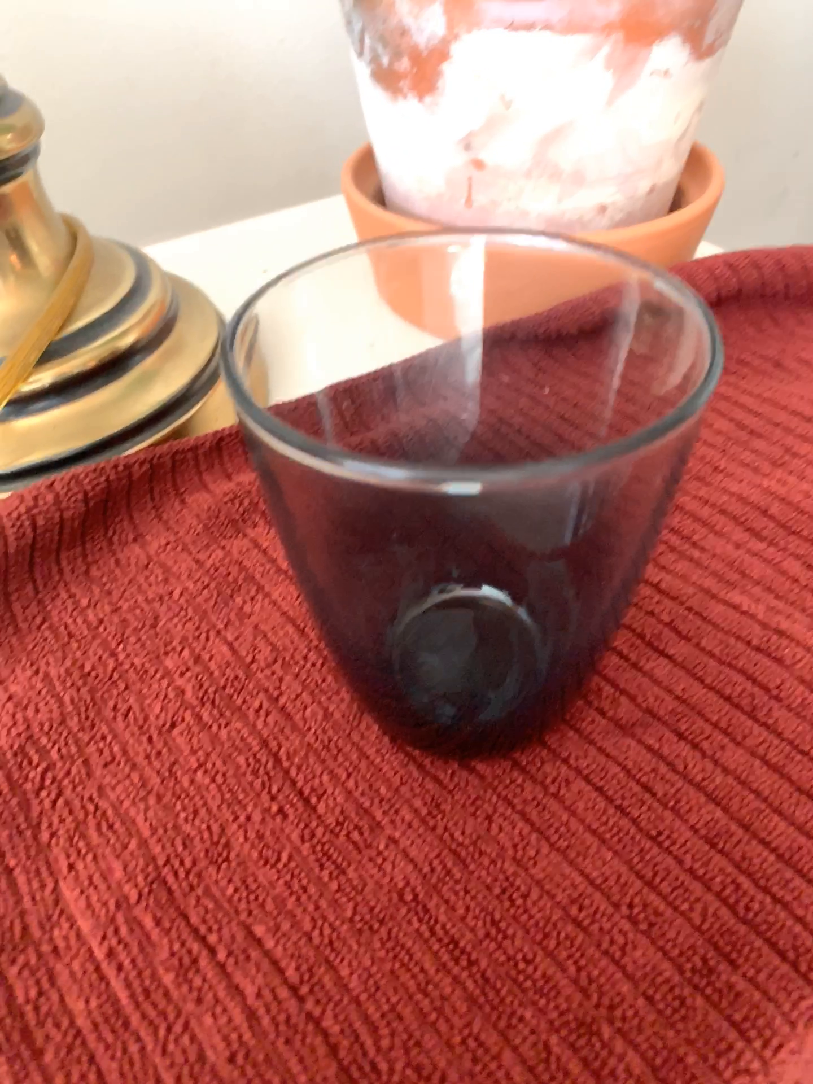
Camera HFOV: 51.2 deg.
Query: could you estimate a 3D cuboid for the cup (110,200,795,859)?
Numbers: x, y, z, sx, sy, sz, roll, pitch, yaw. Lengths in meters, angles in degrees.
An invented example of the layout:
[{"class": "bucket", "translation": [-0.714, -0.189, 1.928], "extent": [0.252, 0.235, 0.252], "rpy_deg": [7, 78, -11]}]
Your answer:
[{"class": "cup", "translation": [0.013, -0.011, 0.165], "extent": [0.084, 0.070, 0.087], "rpy_deg": [-2, 40, 1]}]
